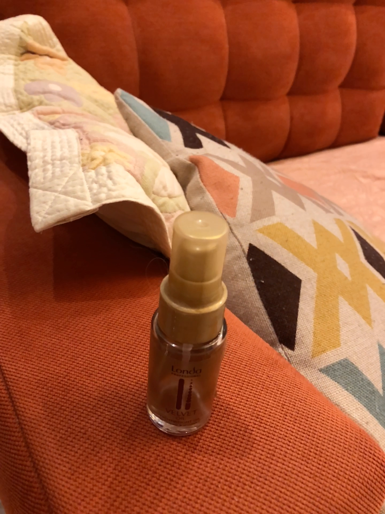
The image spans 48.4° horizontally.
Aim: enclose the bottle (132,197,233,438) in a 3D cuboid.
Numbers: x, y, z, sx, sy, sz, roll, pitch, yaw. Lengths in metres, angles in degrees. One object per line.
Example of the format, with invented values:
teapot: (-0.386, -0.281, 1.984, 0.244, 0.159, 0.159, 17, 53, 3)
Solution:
bottle: (-0.005, 0.030, 0.187, 0.034, 0.106, 0.033, 2, 32, -1)
